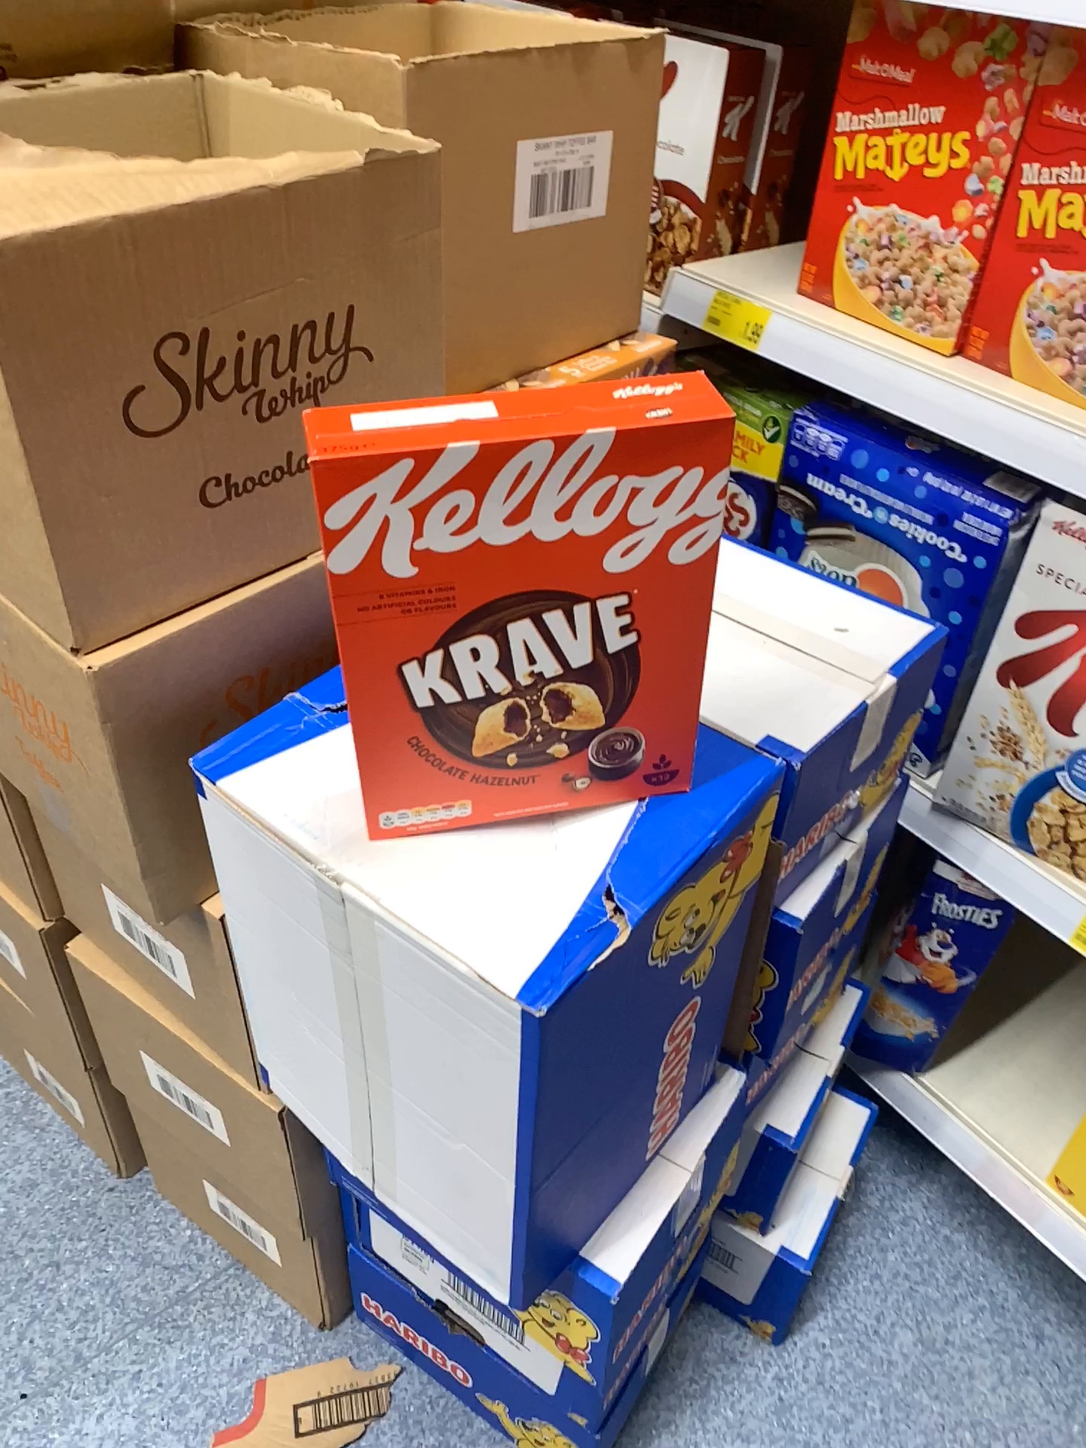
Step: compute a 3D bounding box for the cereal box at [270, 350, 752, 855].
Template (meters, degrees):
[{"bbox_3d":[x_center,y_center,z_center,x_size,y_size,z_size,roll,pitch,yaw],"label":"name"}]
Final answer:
[{"bbox_3d":[-0.016,-0.052,0.557,0.200,0.238,0.061,-8,42,-10],"label":"cereal box"}]
